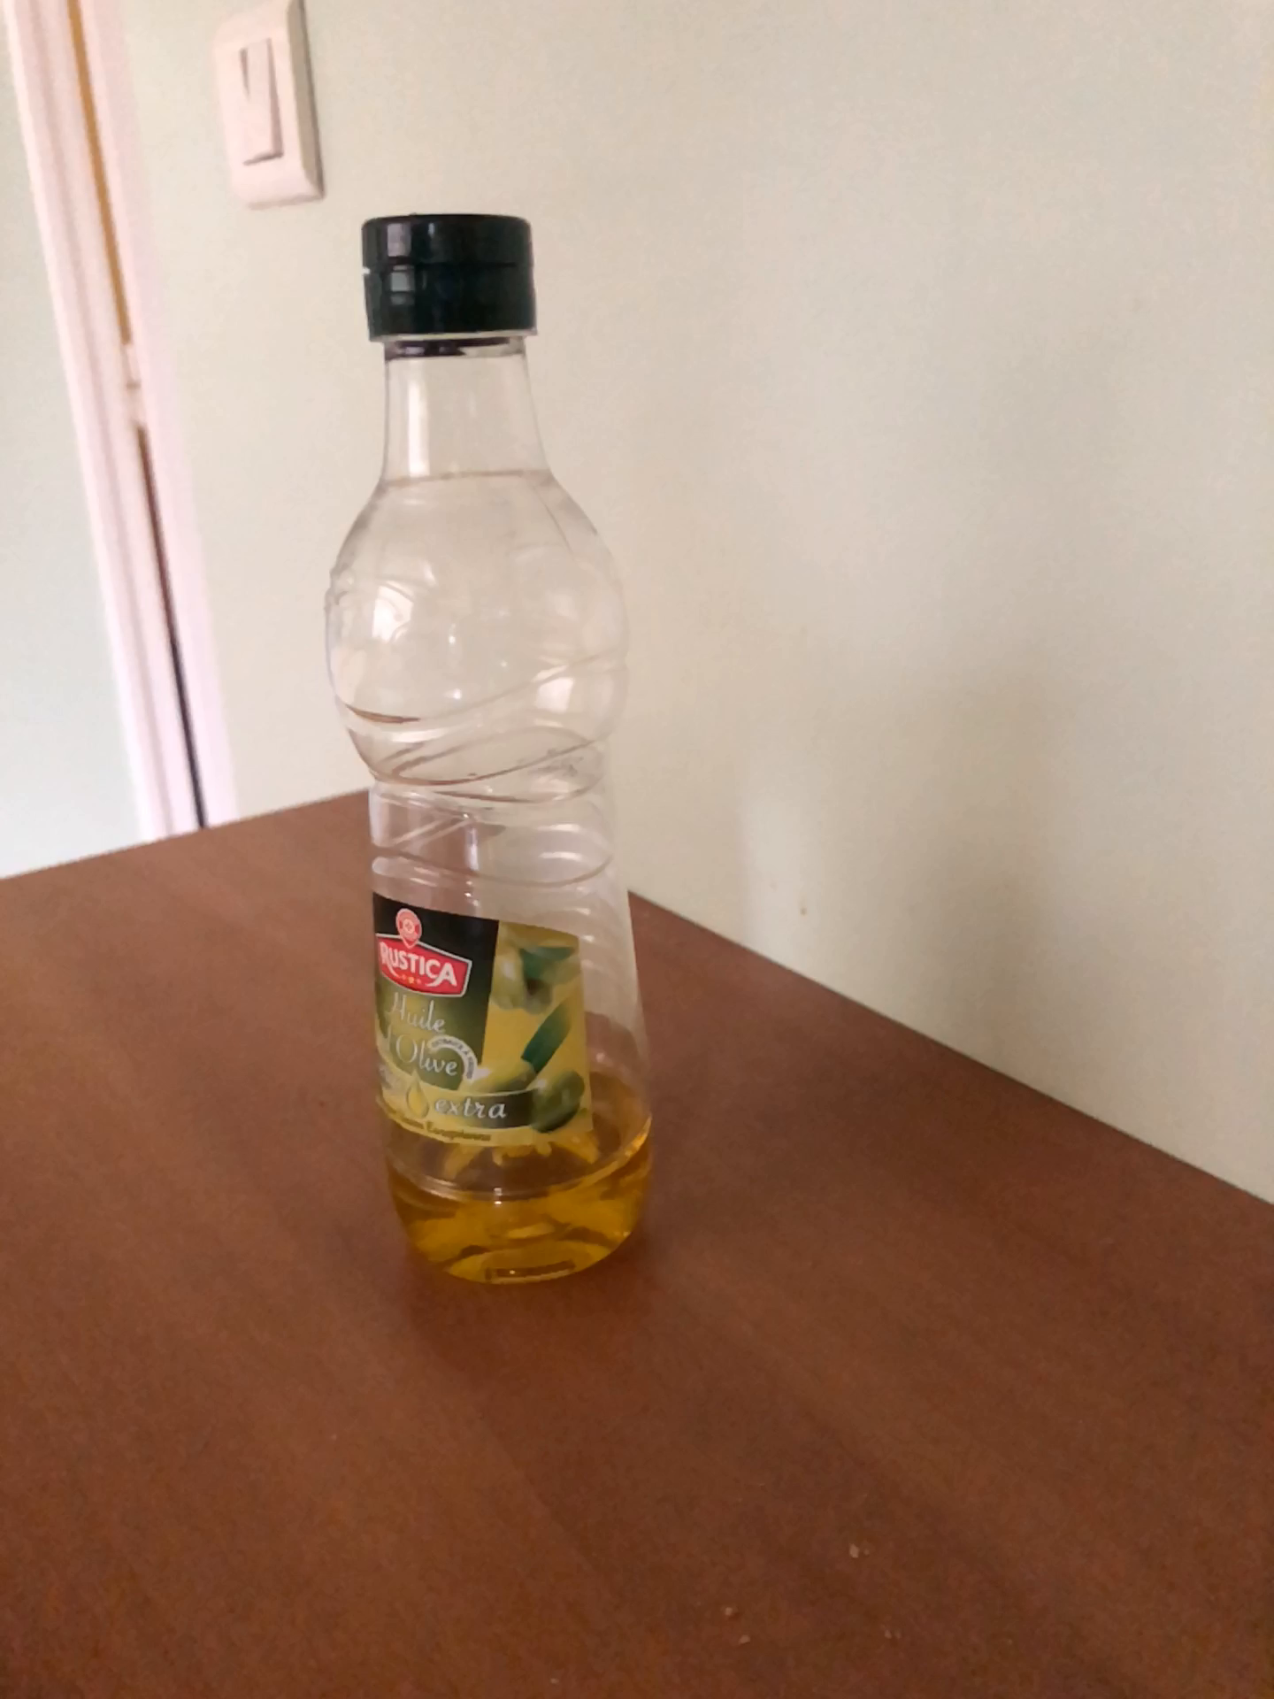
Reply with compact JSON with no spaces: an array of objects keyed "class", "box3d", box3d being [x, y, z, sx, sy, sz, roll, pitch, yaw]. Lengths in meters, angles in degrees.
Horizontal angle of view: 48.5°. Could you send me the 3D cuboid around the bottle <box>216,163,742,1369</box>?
[{"class":"bottle","box3d":[-0.026,-0.016,0.314,0.070,0.239,0.070,-2,20,1]}]
